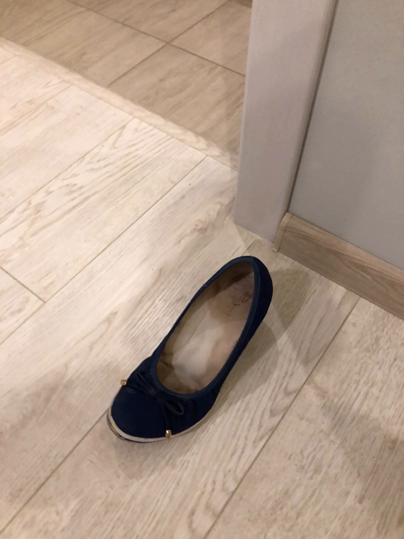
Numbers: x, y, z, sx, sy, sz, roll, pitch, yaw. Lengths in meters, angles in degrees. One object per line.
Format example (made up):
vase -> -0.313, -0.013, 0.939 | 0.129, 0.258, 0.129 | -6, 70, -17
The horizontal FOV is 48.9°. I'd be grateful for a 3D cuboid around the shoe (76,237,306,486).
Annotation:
shoe -> -0.003, 0.093, 0.481 | 0.098, 0.109, 0.231 | 35, 63, 22
